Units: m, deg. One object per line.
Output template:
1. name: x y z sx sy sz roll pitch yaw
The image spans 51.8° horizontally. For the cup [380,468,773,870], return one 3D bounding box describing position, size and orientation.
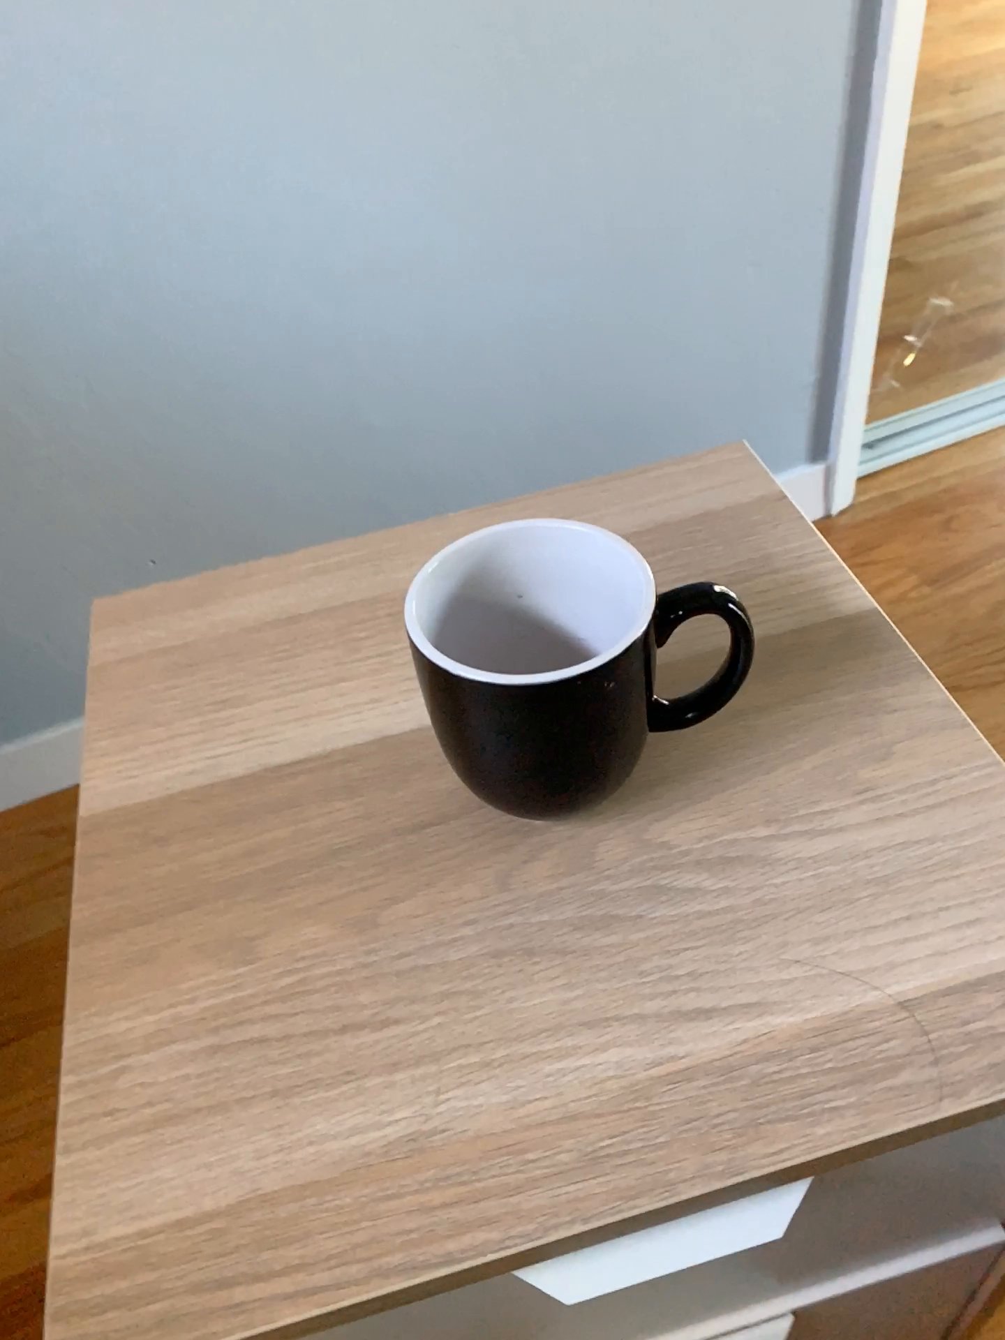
1. cup: 0.030 0.001 0.443 0.140 0.119 0.100 -7 44 3
